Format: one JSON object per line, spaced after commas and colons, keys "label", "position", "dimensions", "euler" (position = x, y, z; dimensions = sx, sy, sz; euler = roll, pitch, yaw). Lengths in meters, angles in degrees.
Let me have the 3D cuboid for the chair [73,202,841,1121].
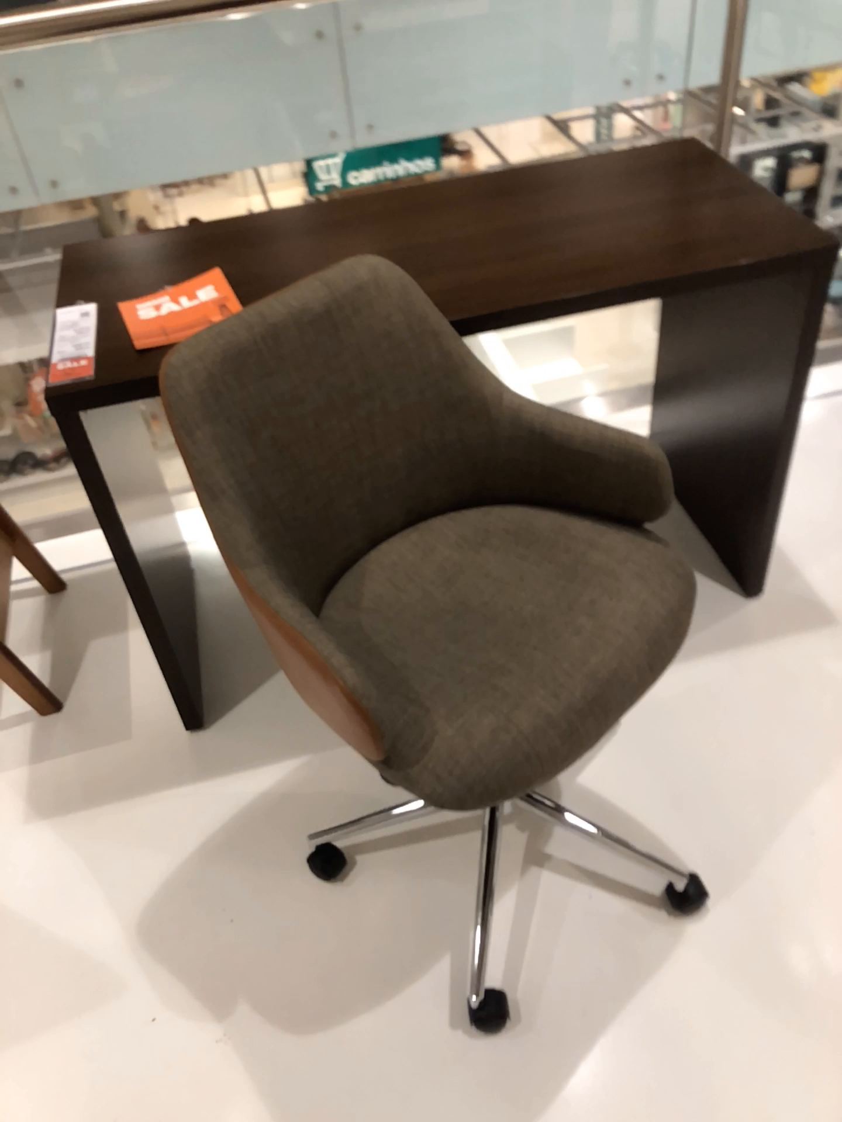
{"label": "chair", "position": [0.117, 0.121, 1.282], "dimensions": [0.702, 0.883, 0.612], "euler": [30, 53, 34]}
